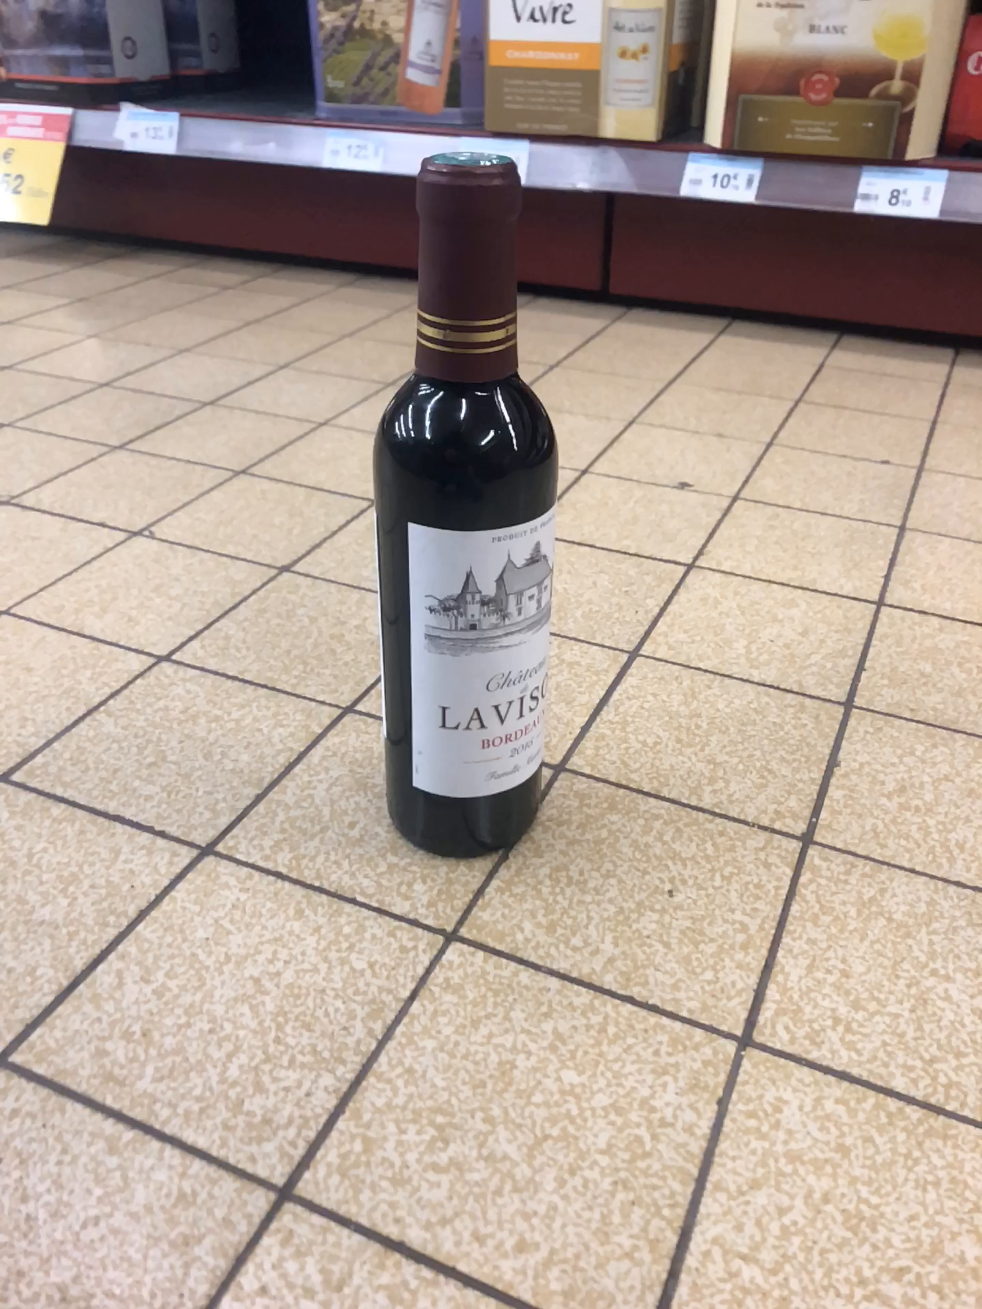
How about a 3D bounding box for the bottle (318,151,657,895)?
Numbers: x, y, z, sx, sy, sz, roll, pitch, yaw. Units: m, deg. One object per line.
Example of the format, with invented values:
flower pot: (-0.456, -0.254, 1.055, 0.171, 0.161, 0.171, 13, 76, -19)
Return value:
bottle: (-0.001, -0.037, 0.349, 0.060, 0.219, 0.070, 25, 38, 34)
